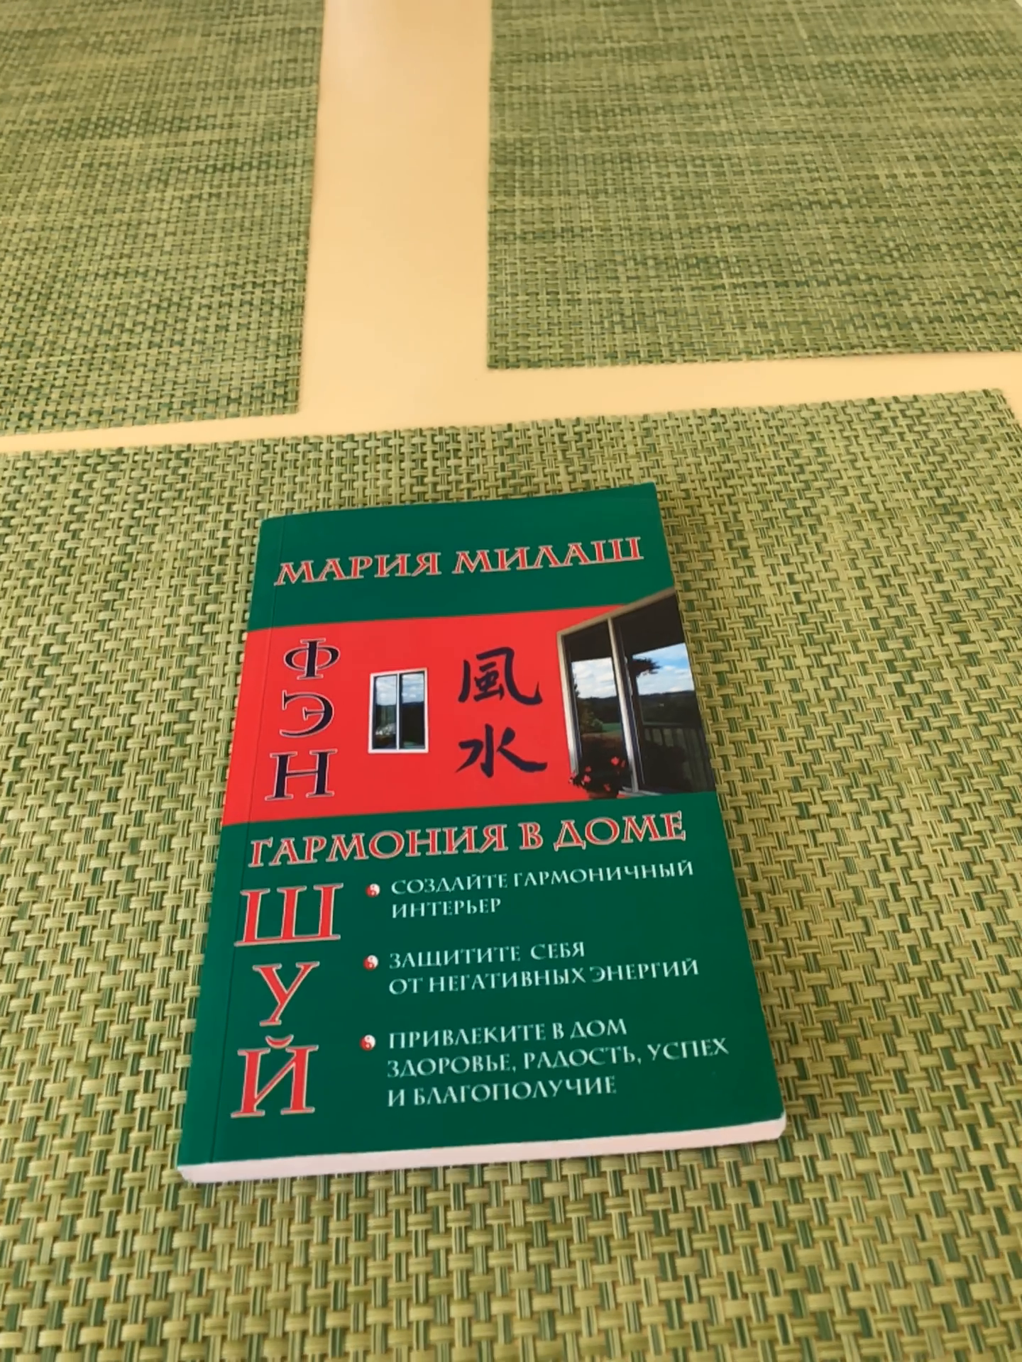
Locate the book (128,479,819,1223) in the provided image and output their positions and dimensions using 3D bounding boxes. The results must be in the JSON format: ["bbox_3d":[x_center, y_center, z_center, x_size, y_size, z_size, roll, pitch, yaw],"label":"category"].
[{"bbox_3d":[-0.012,0.026,0.295,0.137,0.020,0.201,-5,50,1],"label":"book"}]
